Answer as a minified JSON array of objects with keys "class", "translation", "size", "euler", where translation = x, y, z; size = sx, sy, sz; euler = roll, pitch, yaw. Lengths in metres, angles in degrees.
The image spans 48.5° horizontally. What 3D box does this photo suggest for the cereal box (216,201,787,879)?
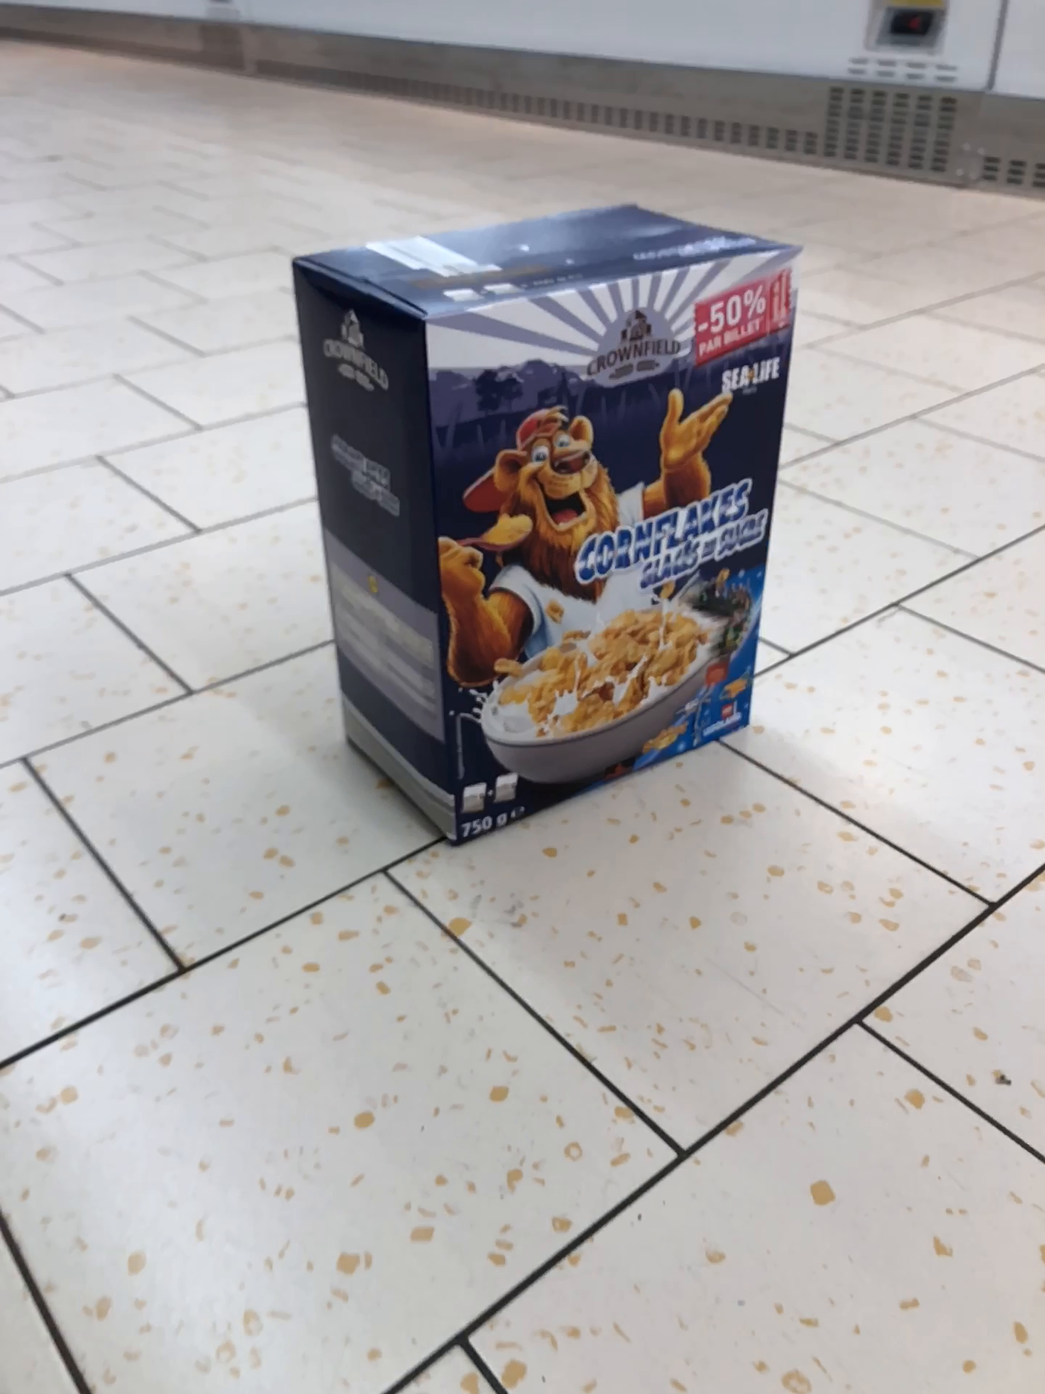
[{"class":"cereal box","translation":[-0.007,-0.084,0.571],"size":[0.211,0.258,0.130],"euler":[-19,37,-27]}]
